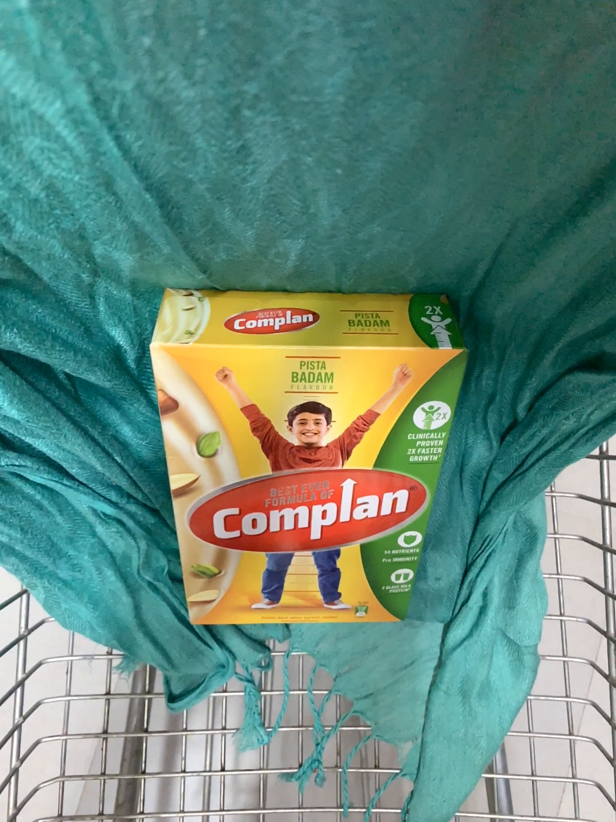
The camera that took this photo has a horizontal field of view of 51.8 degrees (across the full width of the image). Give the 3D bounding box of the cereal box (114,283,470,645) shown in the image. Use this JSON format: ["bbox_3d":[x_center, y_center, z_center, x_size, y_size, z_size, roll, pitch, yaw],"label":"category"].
[{"bbox_3d":[-0.008,0.038,0.334,0.140,0.060,0.200,-1,128,-2],"label":"cereal box"}]
